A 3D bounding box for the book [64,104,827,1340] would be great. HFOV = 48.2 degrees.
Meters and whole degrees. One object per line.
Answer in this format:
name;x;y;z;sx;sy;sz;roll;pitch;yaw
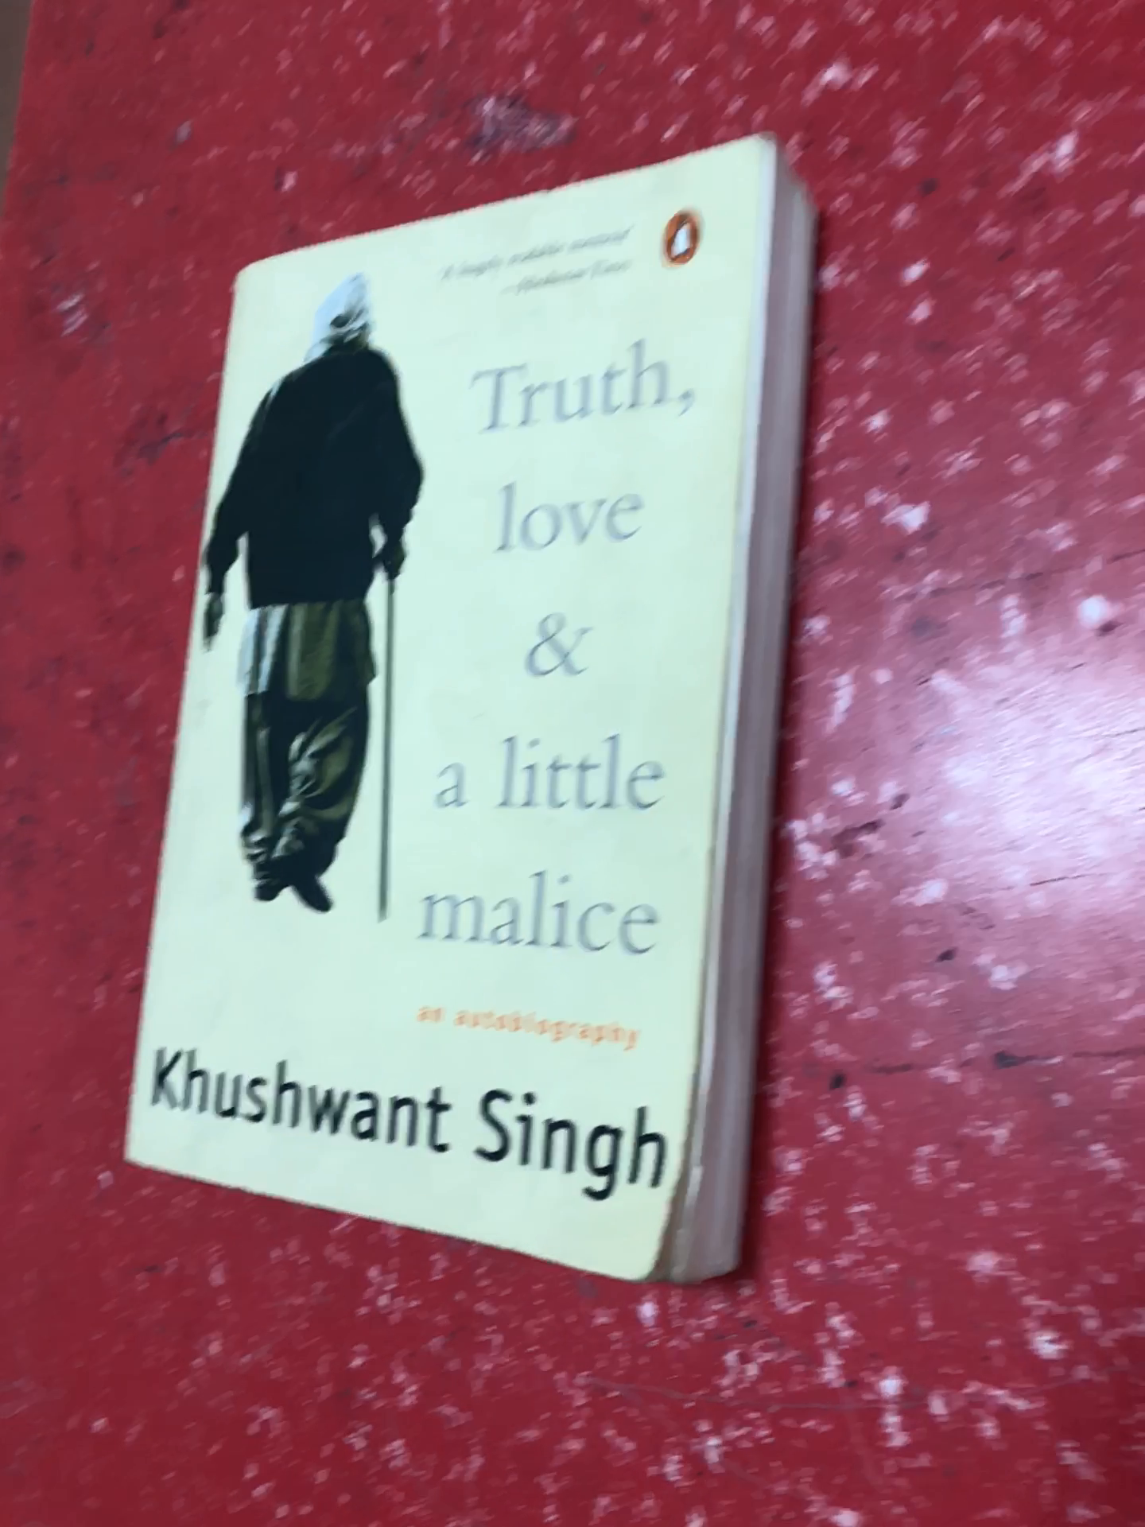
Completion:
book;-0.028;-0.011;0.266;0.141;0.040;0.210;0;81;30
